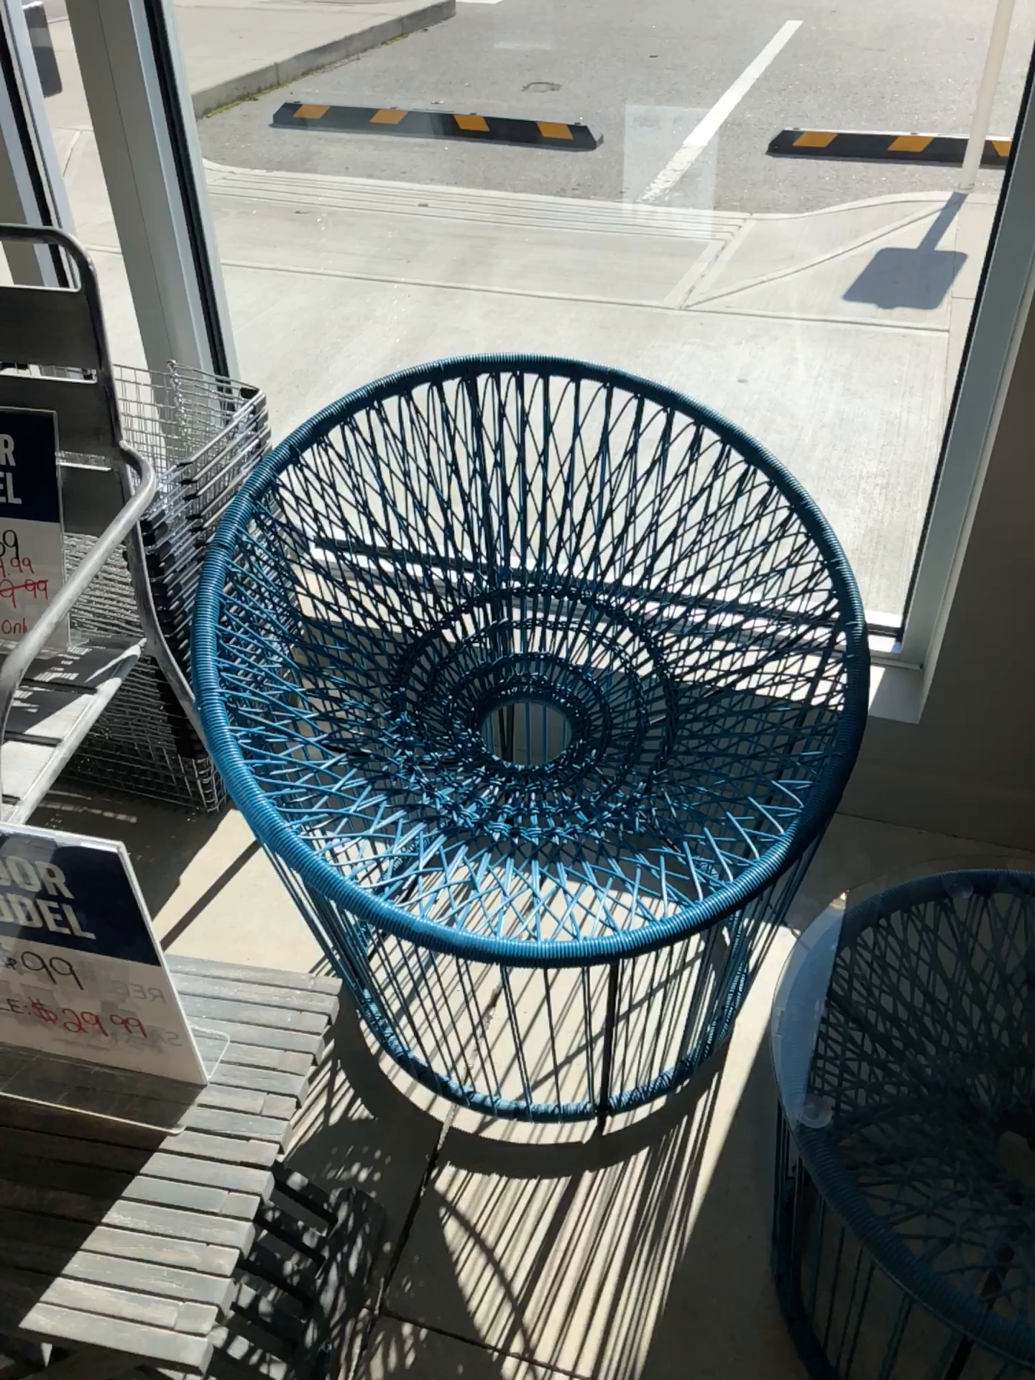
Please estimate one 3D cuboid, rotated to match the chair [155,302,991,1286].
[{"bbox_3d":[0.002,0.129,1.509,0.720,0.993,0.664,-11,39,-12],"label":"chair"}]
